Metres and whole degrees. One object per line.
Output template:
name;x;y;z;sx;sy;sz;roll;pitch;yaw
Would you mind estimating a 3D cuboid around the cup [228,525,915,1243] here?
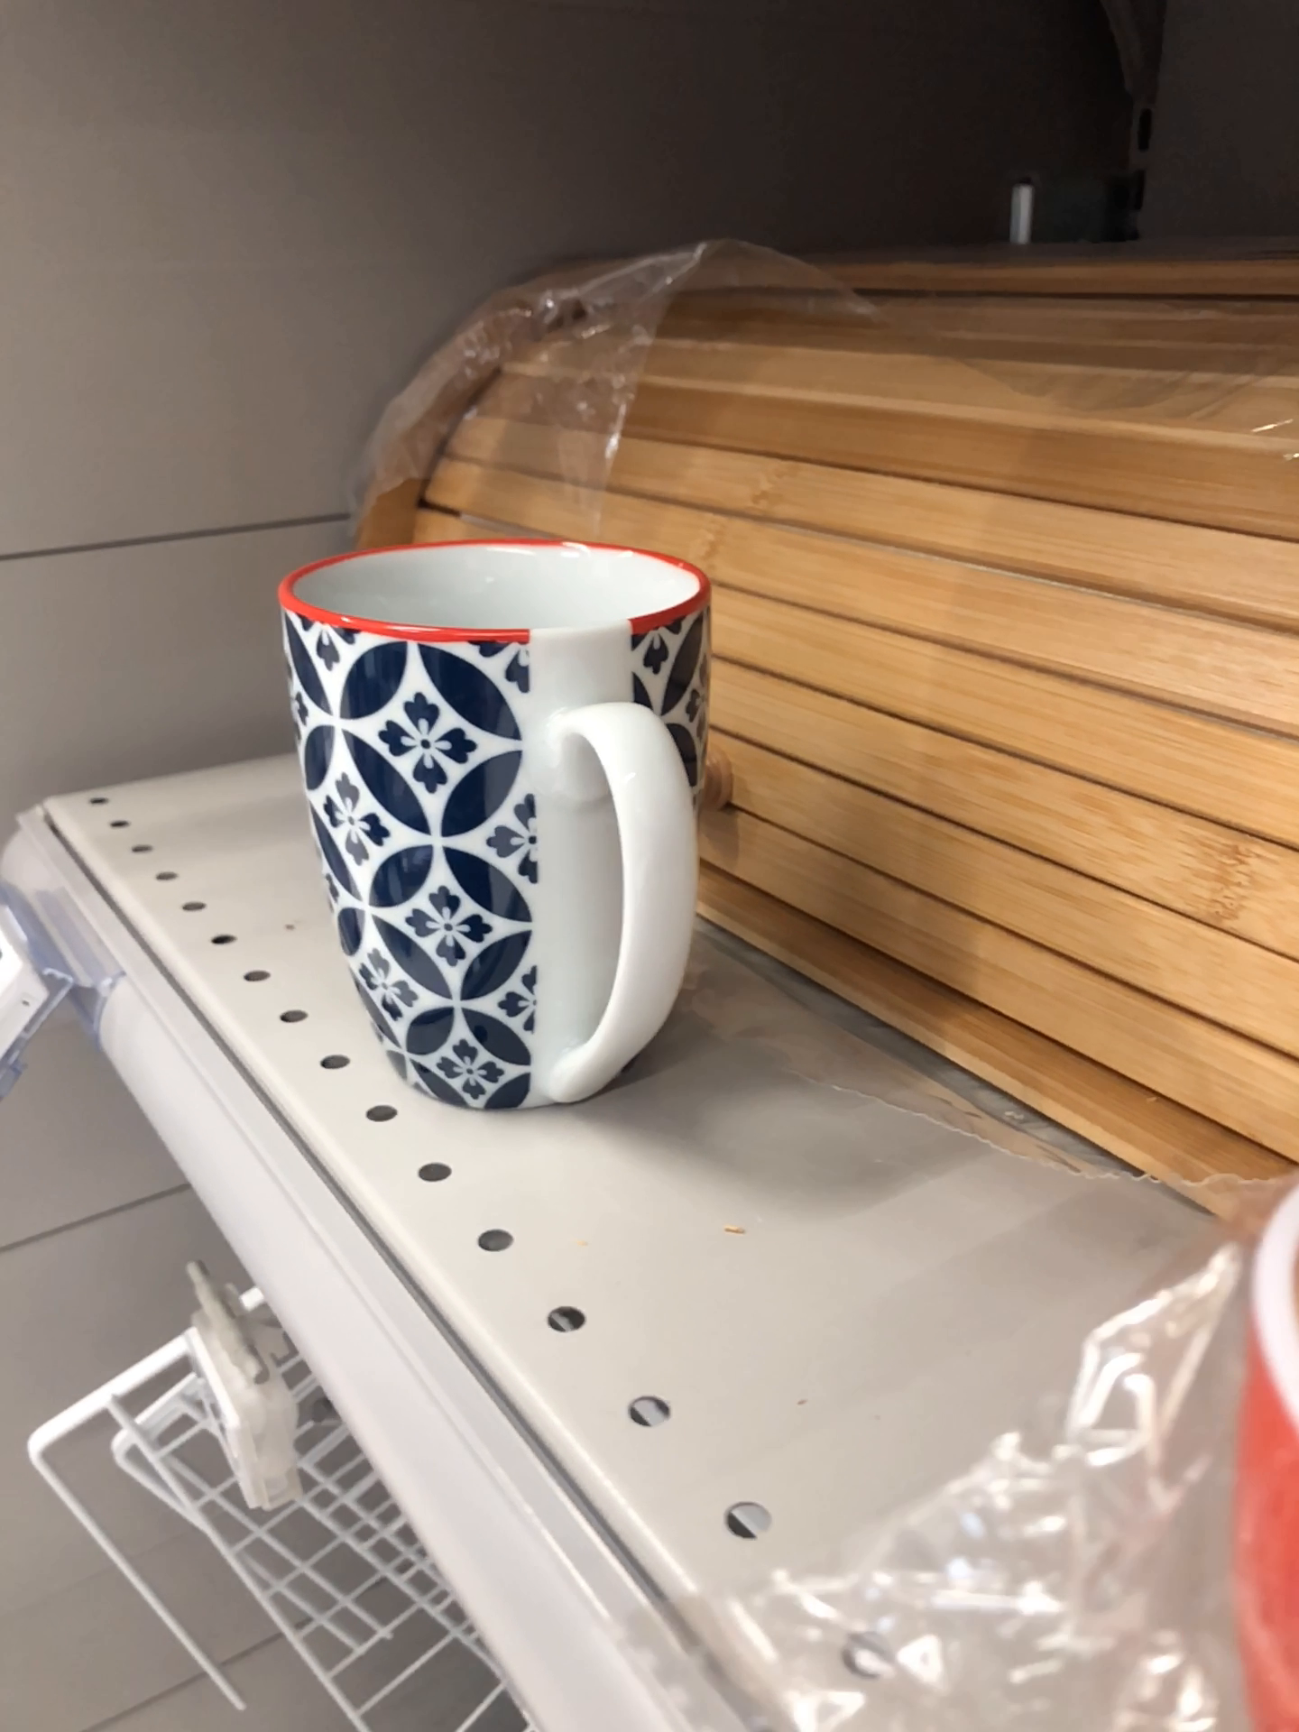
cup;-0.019;-0.008;0.279;0.080;0.090;0.113;-15;26;-29
